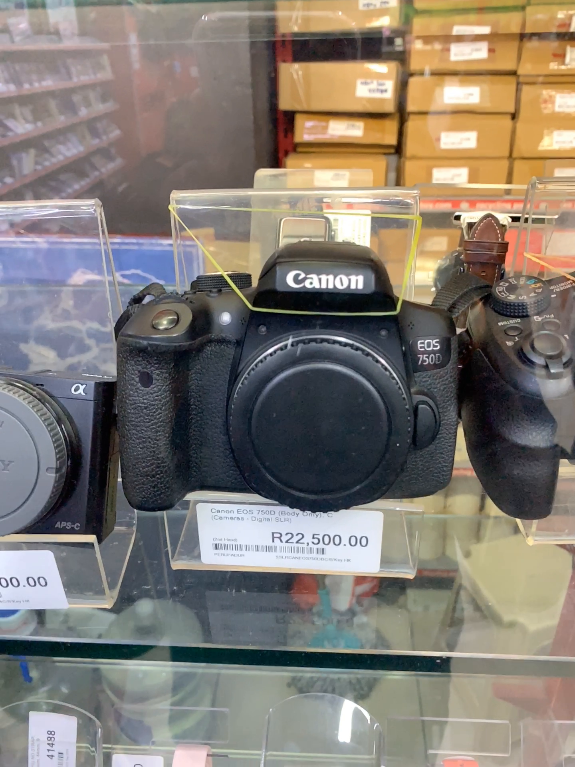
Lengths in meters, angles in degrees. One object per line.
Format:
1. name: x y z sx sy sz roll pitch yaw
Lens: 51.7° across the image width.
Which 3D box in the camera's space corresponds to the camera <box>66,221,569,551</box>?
1. camera: 0.007 -0.001 0.205 0.130 0.090 0.070 1 28 -2
